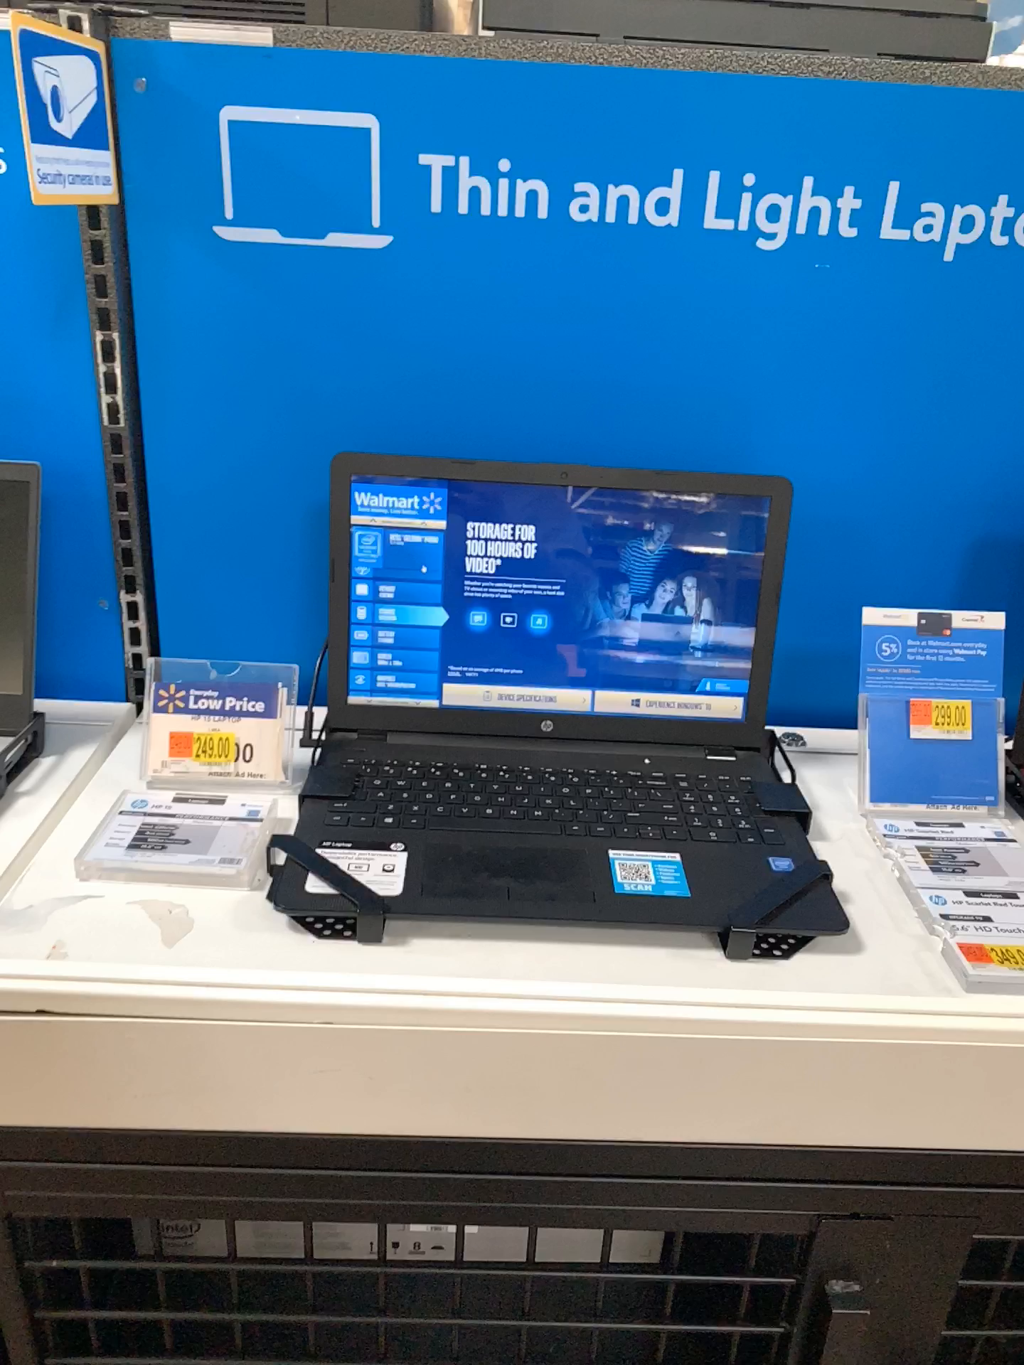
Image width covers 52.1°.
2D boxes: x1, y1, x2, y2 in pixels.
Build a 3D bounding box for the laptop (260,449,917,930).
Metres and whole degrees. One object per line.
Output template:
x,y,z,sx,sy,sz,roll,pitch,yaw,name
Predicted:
0.034,-0.013,0.750,0.363,0.225,0.287,2,24,-3,laptop
